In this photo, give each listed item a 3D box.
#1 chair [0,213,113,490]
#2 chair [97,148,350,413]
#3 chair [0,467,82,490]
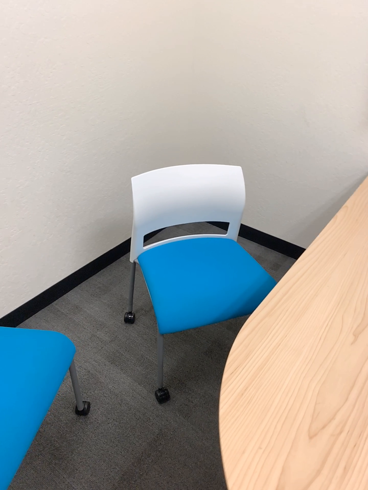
[{"bbox_3d":[-0.676,0.437,1.093,0.690,0.756,0.643,8,35,8],"label":"chair"},{"bbox_3d":[0.090,0.102,1.664,0.750,0.765,0.694,-11,37,-18],"label":"chair"},{"bbox_3d":[-0.613,0.836,0.504,0.690,0.716,0.644,3,35,2],"label":"chair"}]
